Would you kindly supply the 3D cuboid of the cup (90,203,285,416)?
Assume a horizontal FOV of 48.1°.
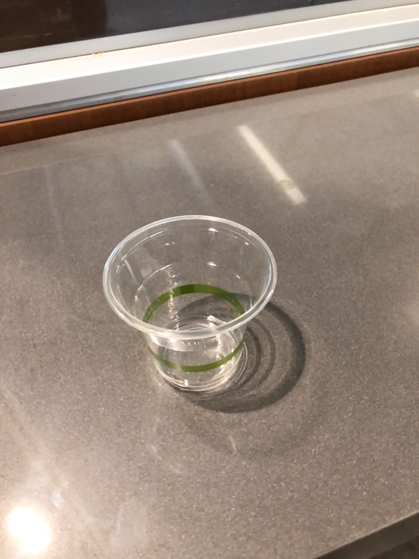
[{"bbox_3d":[-0.003,0.012,0.214,0.070,0.060,0.070,-2,44,2],"label":"cup"}]
